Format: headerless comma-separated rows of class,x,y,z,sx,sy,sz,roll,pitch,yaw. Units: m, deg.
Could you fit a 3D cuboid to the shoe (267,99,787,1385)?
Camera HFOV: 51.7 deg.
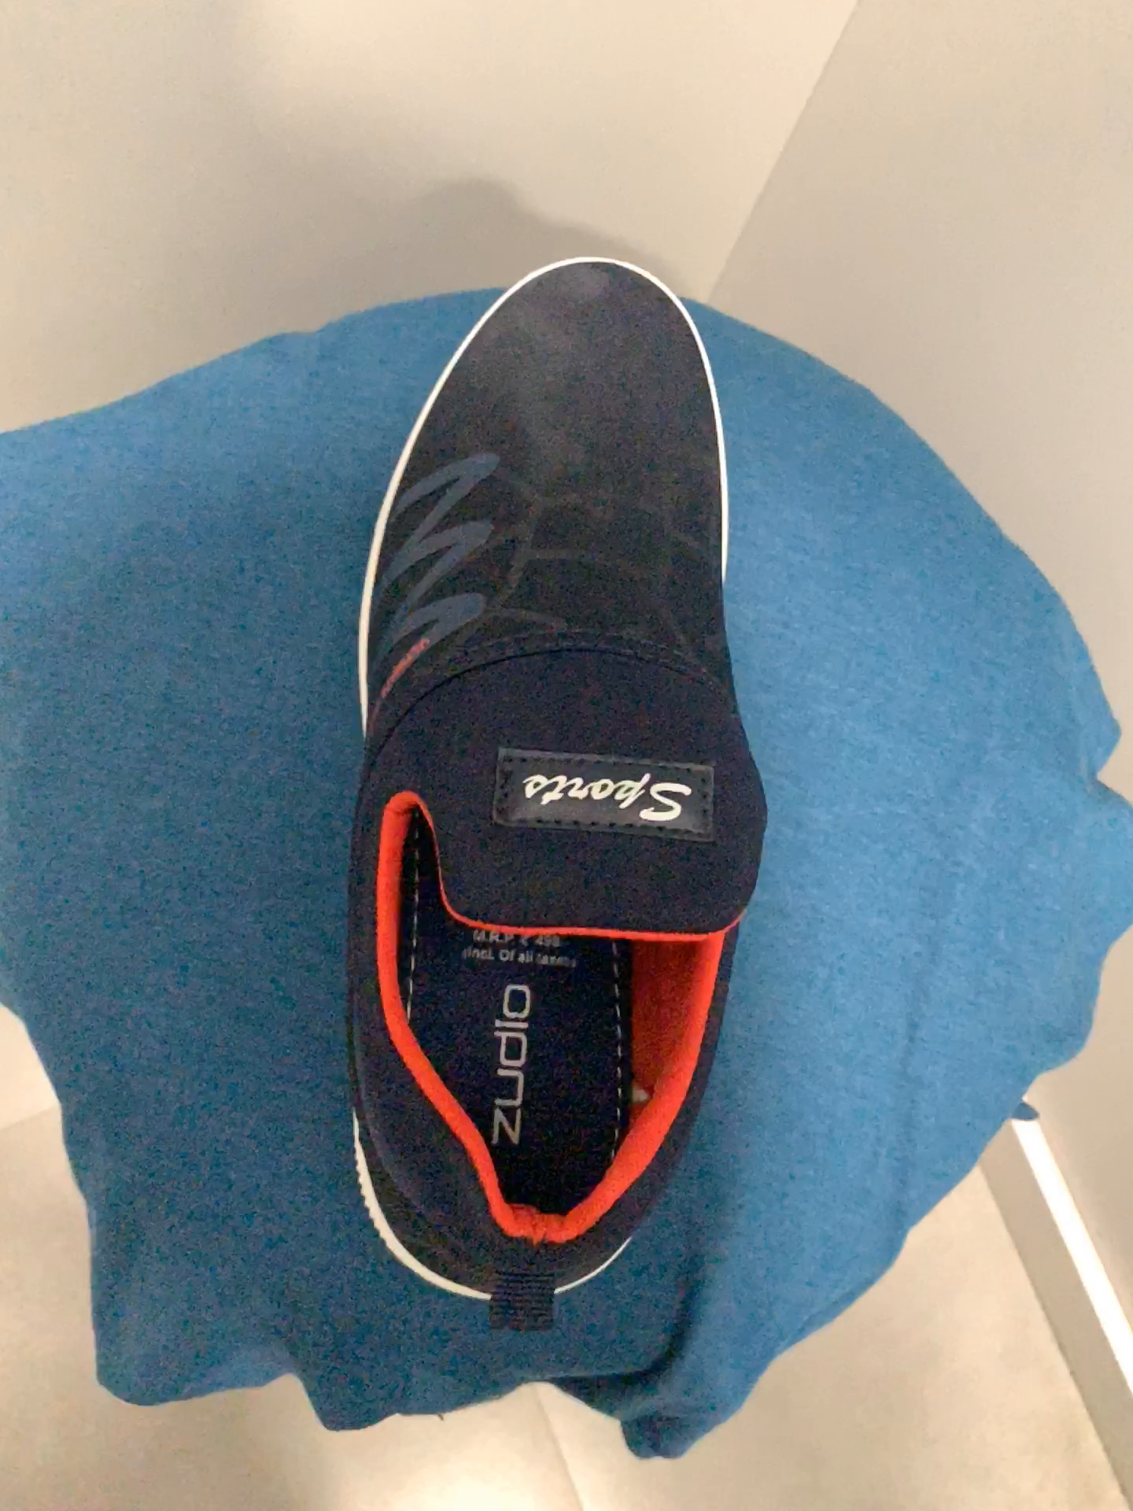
shoe,-0.009,-0.004,0.288,0.090,0.100,0.260,5,79,-8
